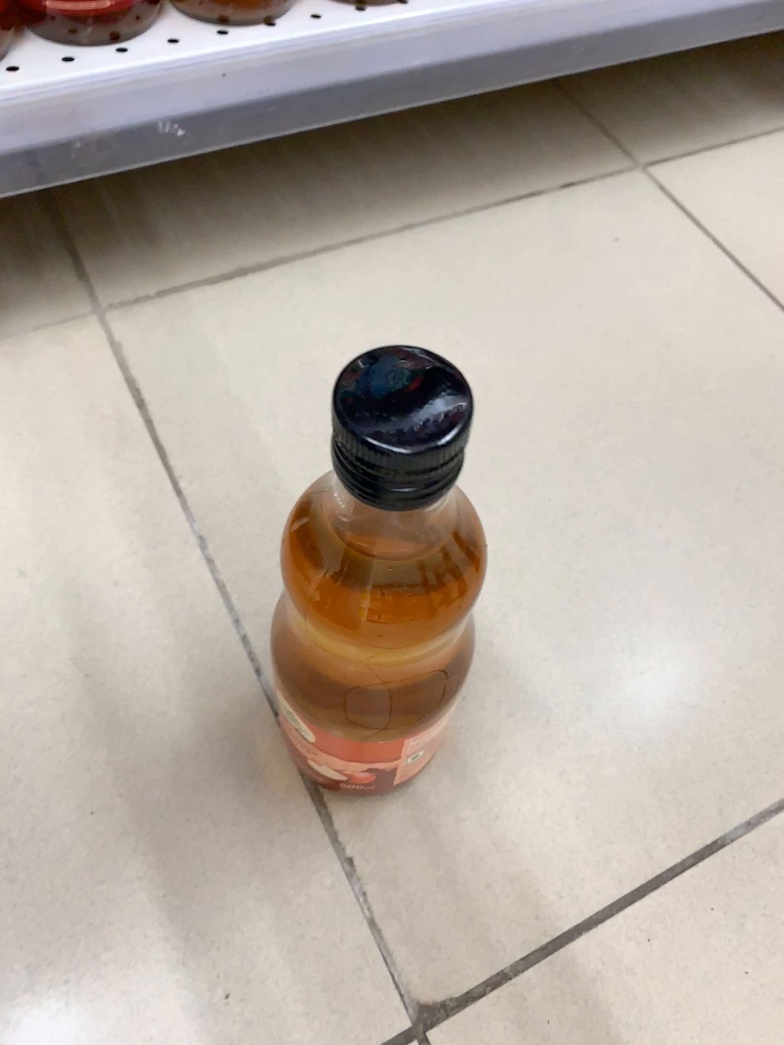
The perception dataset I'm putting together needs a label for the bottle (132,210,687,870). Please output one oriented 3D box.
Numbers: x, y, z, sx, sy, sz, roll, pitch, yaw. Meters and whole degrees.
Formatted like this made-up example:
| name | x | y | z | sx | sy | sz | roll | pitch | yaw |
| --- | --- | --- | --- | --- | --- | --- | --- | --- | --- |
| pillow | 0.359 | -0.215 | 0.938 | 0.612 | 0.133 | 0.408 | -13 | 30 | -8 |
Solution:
| name | x | y | z | sx | sy | sz | roll | pitch | yaw |
| --- | --- | --- | --- | --- | --- | --- | --- | --- | --- |
| bottle | -0.003 | 0.029 | 0.253 | 0.080 | 0.209 | 0.080 | 2 | 57 | -3 |
